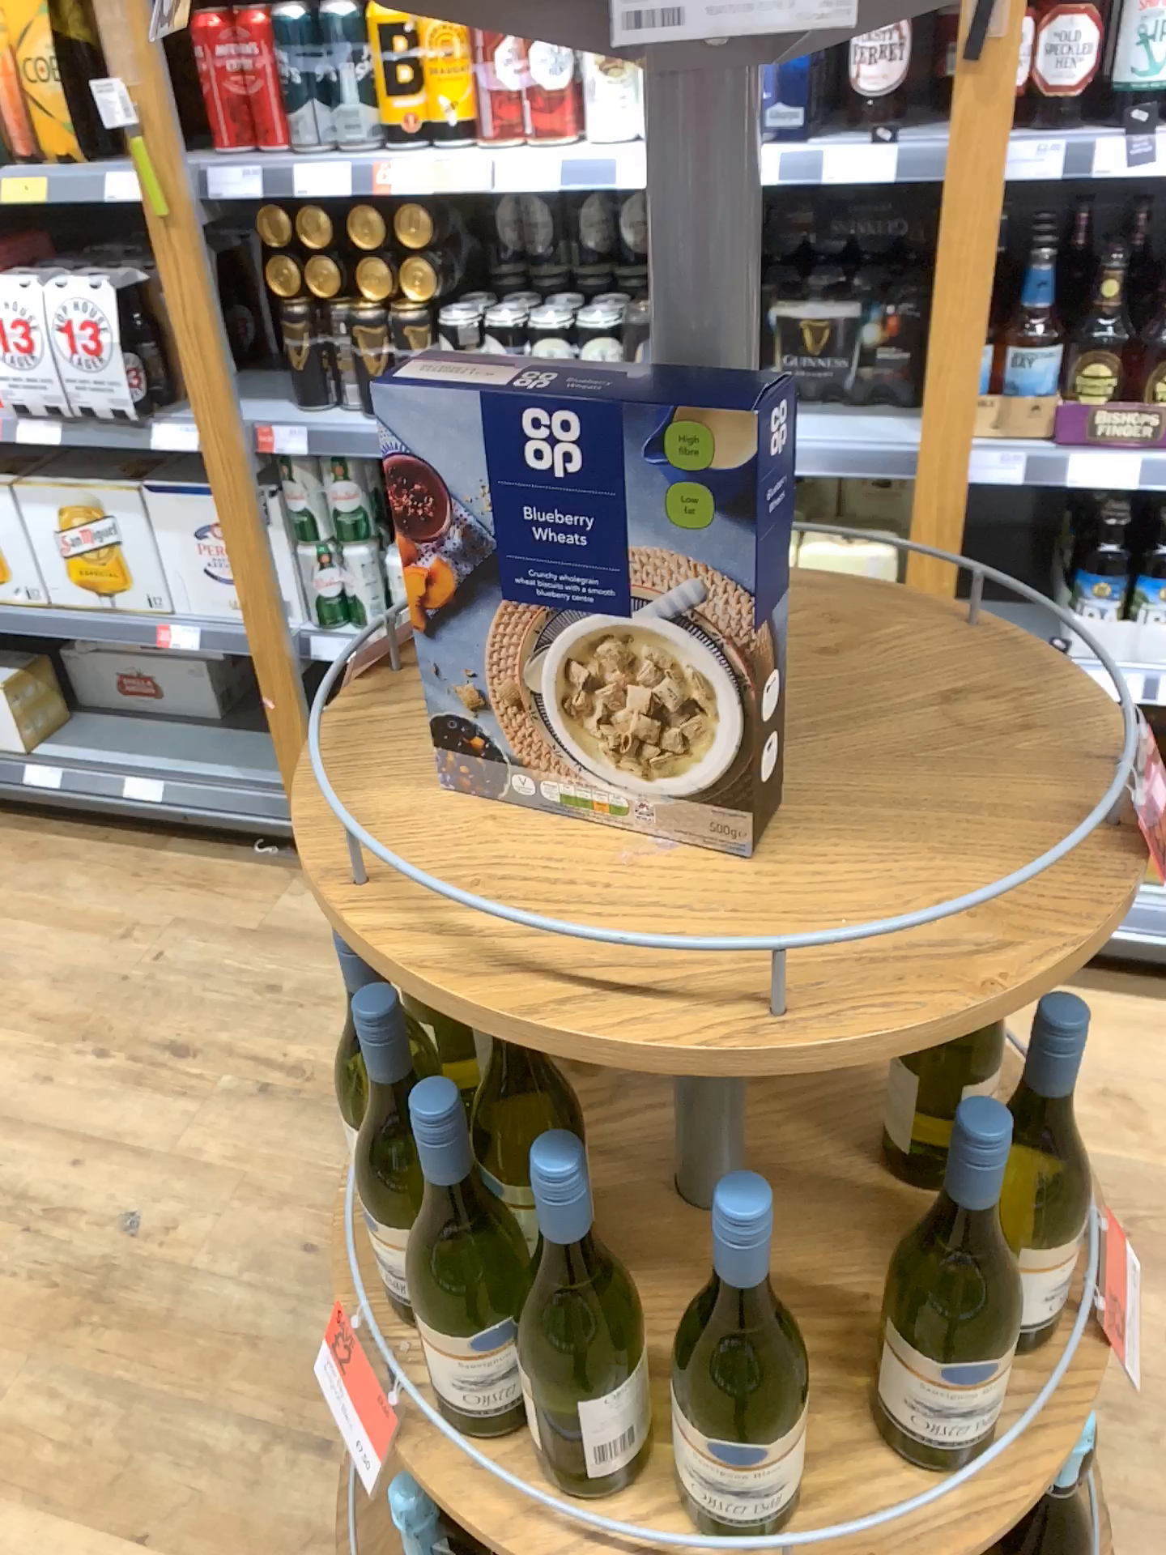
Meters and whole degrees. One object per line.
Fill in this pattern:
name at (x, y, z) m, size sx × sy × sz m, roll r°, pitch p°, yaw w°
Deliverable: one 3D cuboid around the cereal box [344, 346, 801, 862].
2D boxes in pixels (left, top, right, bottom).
cereal box at (-0.001, -0.087, 0.603) m, size 0.200 × 0.228 × 0.060 m, roll 12°, pitch 36°, yaw 22°
